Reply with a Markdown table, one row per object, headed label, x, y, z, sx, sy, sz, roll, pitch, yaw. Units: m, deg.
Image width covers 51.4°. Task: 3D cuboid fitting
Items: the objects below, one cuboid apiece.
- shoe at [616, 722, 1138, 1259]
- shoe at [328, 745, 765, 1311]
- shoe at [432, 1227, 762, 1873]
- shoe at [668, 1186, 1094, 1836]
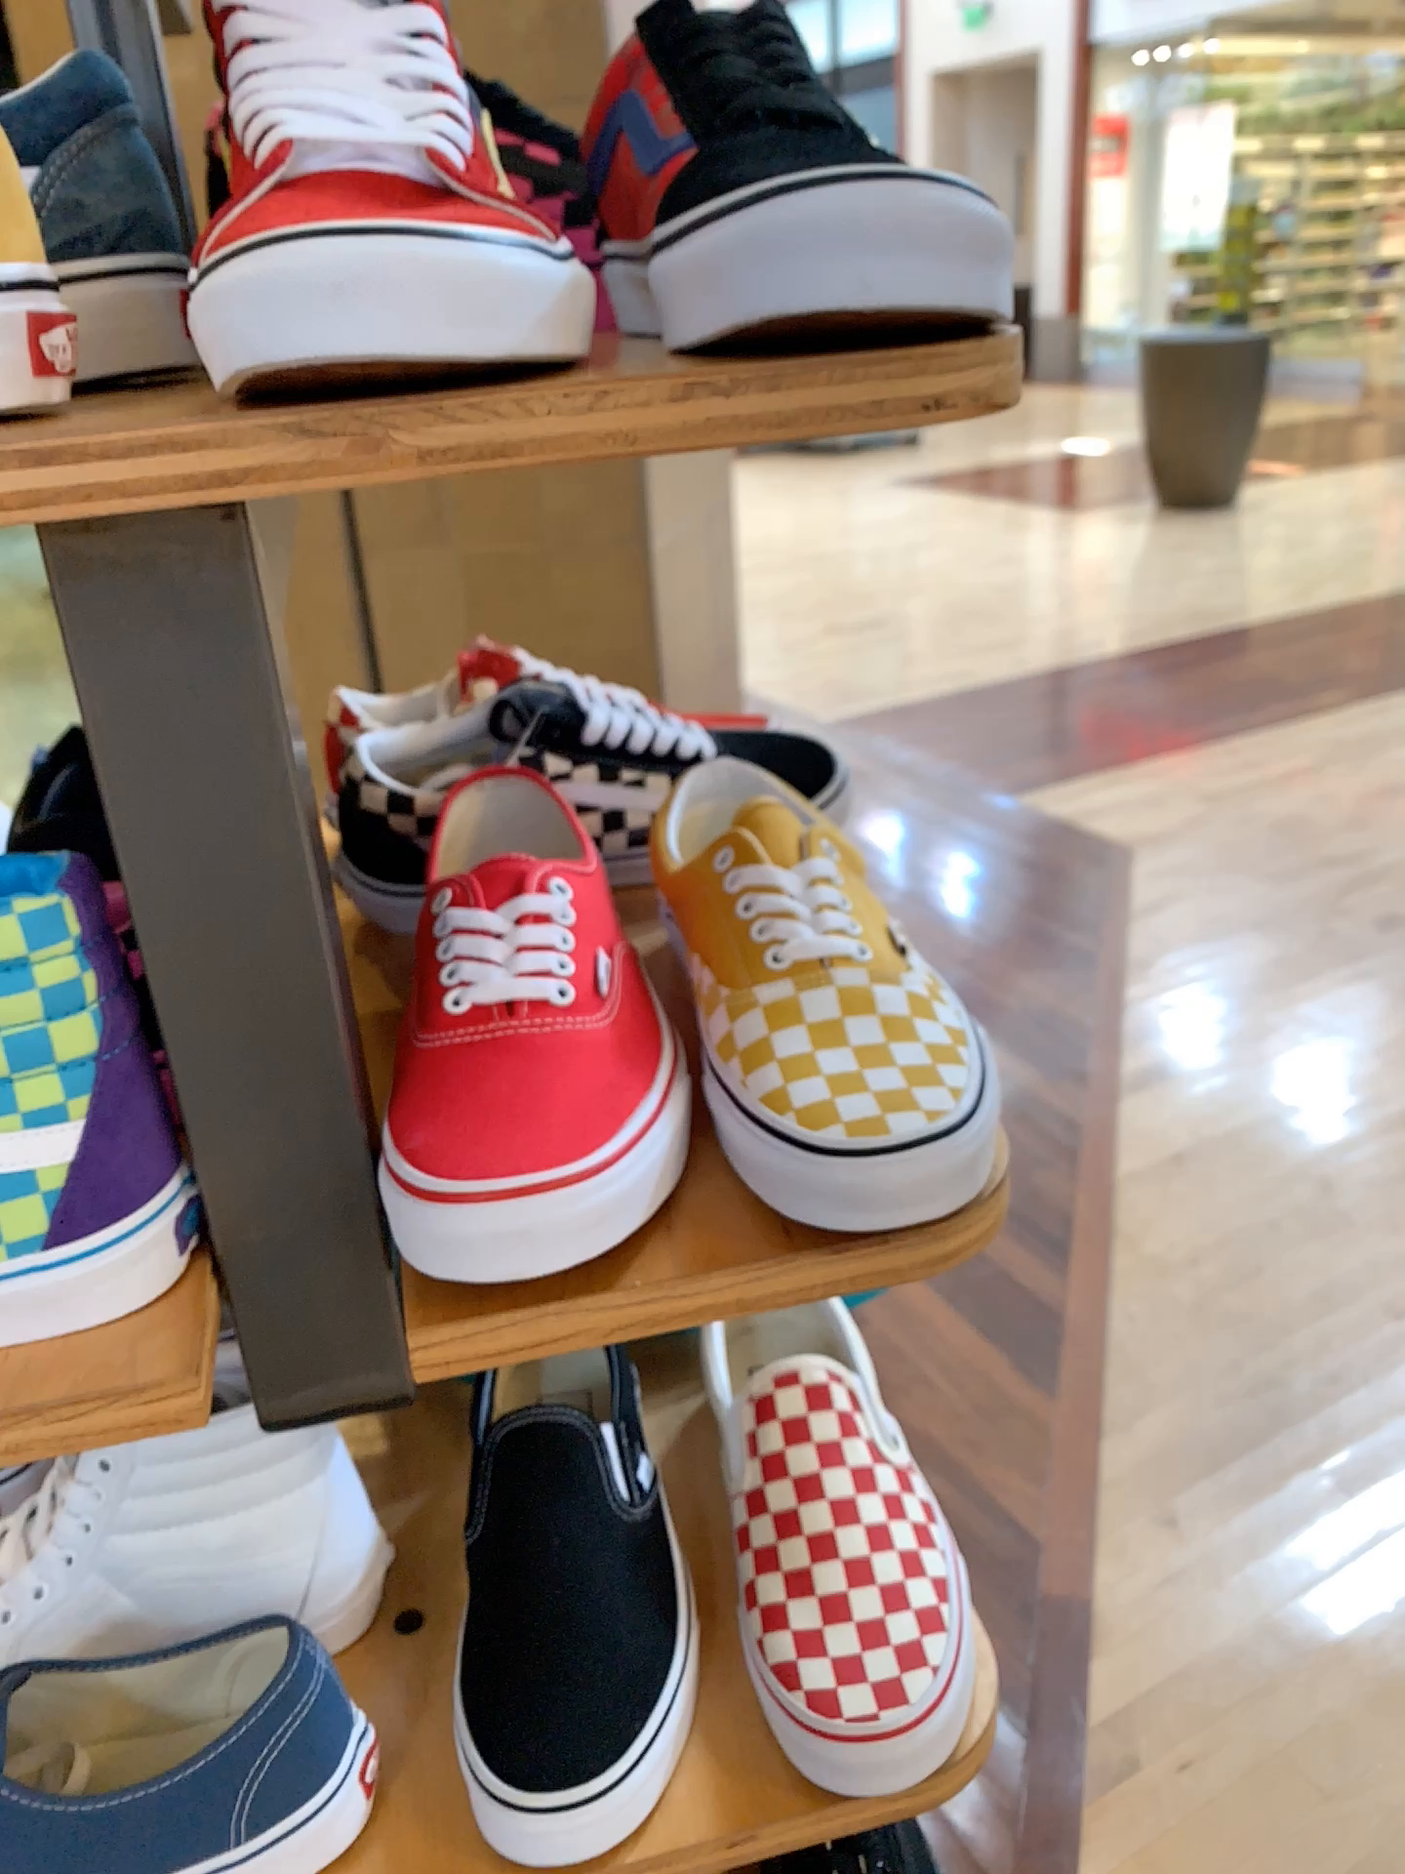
| label | x | y | z | sx | sy | sz | roll | pitch | yaw |
| --- | --- | --- | --- | --- | --- | --- | --- | --- | --- |
| shoe | 0.042 | -0.002 | 0.516 | 0.103 | 0.067 | 0.269 | -8 | 25 | -9 |
| shoe | -0.060 | 0.009 | 0.507 | 0.109 | 0.067 | 0.269 | -7 | 25 | -7 |
| shoe | -0.055 | 0.234 | 0.609 | 0.105 | 0.067 | 0.269 | -7 | 25 | -7 |
| shoe | 0.058 | 0.214 | 0.609 | 0.103 | 0.067 | 0.269 | -7 | 25 | -7 |
